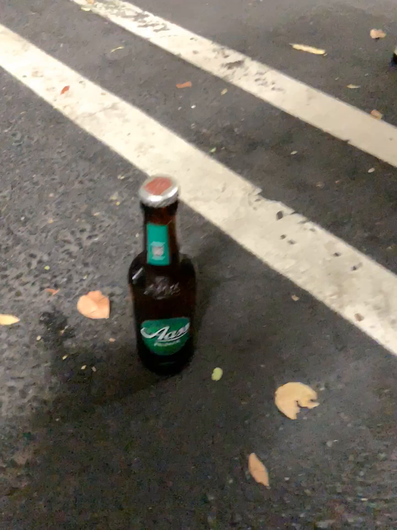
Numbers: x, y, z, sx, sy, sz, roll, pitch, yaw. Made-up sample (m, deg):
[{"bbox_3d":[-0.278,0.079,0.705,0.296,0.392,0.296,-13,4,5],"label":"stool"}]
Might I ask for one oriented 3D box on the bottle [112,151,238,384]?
[{"bbox_3d":[-0.025,0.016,0.370,0.070,0.210,0.070,3,51,-3],"label":"bottle"}]
